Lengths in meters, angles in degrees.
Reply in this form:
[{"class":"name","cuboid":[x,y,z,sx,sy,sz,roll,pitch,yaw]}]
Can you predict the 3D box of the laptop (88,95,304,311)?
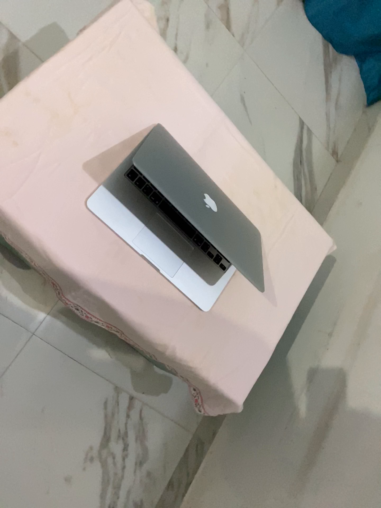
[{"class":"laptop","cuboid":[0.018,-0.074,0.690,0.297,0.138,0.208,44,68,-20]}]
